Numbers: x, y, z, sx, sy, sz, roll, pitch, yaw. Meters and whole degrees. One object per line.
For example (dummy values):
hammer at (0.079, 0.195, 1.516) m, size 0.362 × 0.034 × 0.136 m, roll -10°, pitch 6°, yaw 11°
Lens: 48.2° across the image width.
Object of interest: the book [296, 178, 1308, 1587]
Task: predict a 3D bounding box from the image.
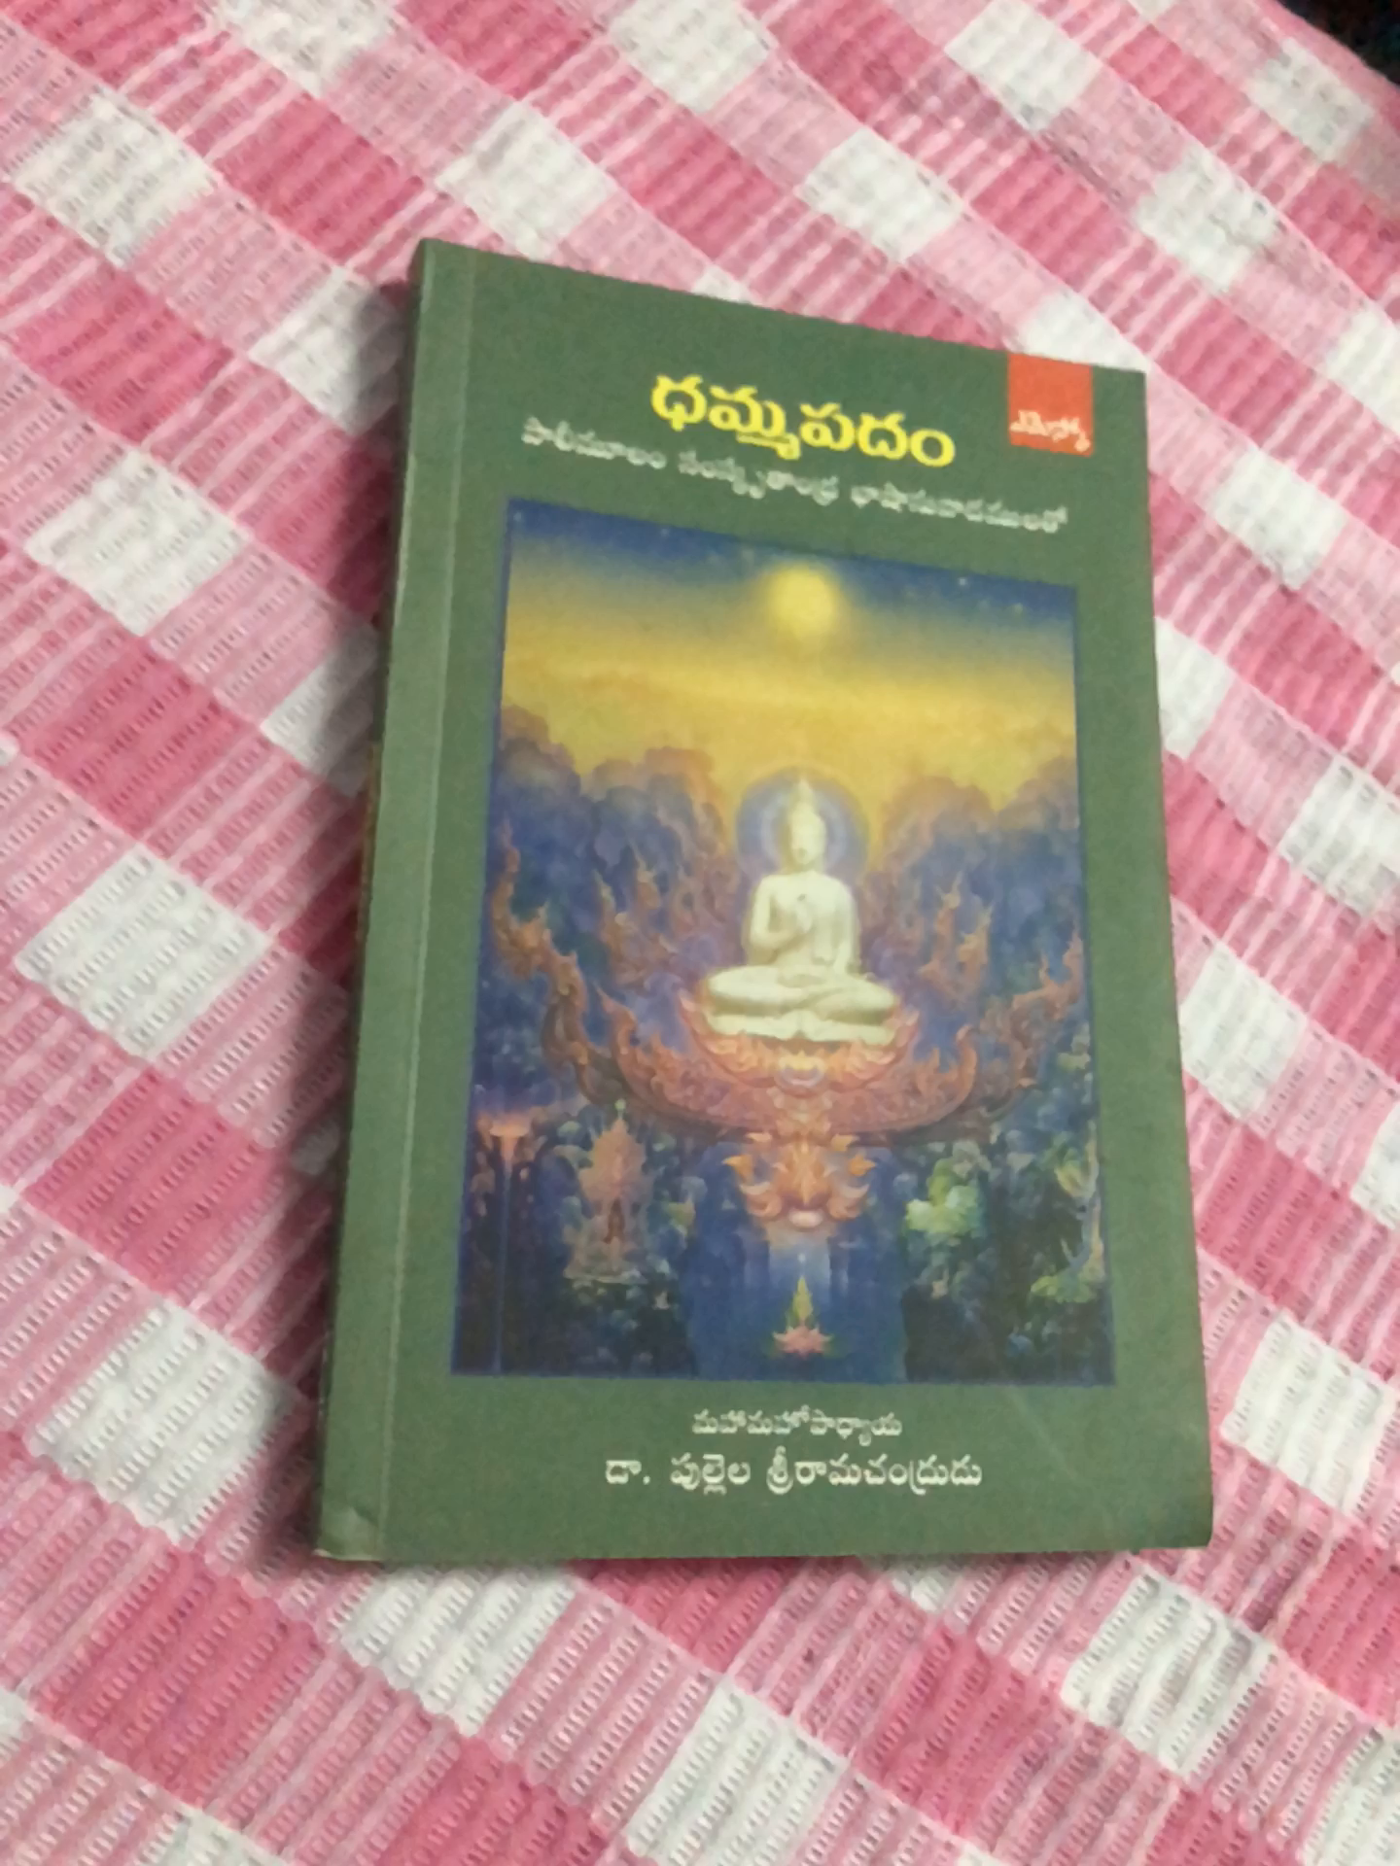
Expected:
book at (0.018, -0.011, 0.241) m, size 0.140 × 0.020 × 0.200 m, roll 5°, pitch 74°, yaw -16°
